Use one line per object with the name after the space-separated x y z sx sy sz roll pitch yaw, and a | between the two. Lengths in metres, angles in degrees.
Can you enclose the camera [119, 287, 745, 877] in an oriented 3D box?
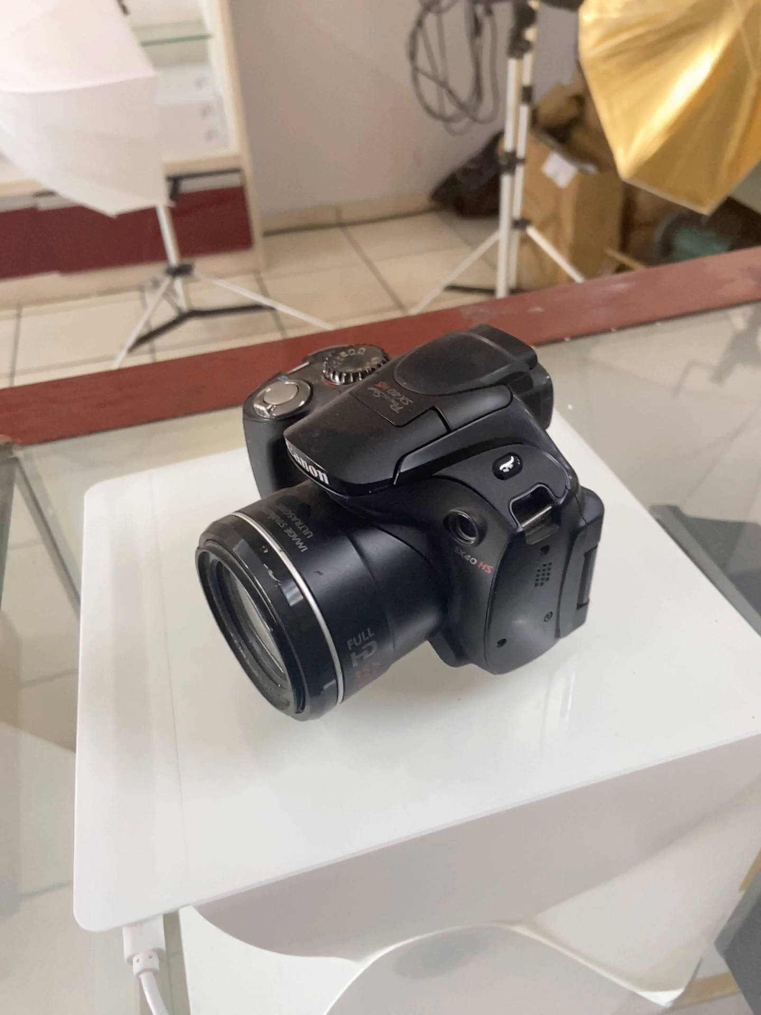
0.016 0.009 0.262 0.140 0.089 0.120 -31 47 -29 | camera
